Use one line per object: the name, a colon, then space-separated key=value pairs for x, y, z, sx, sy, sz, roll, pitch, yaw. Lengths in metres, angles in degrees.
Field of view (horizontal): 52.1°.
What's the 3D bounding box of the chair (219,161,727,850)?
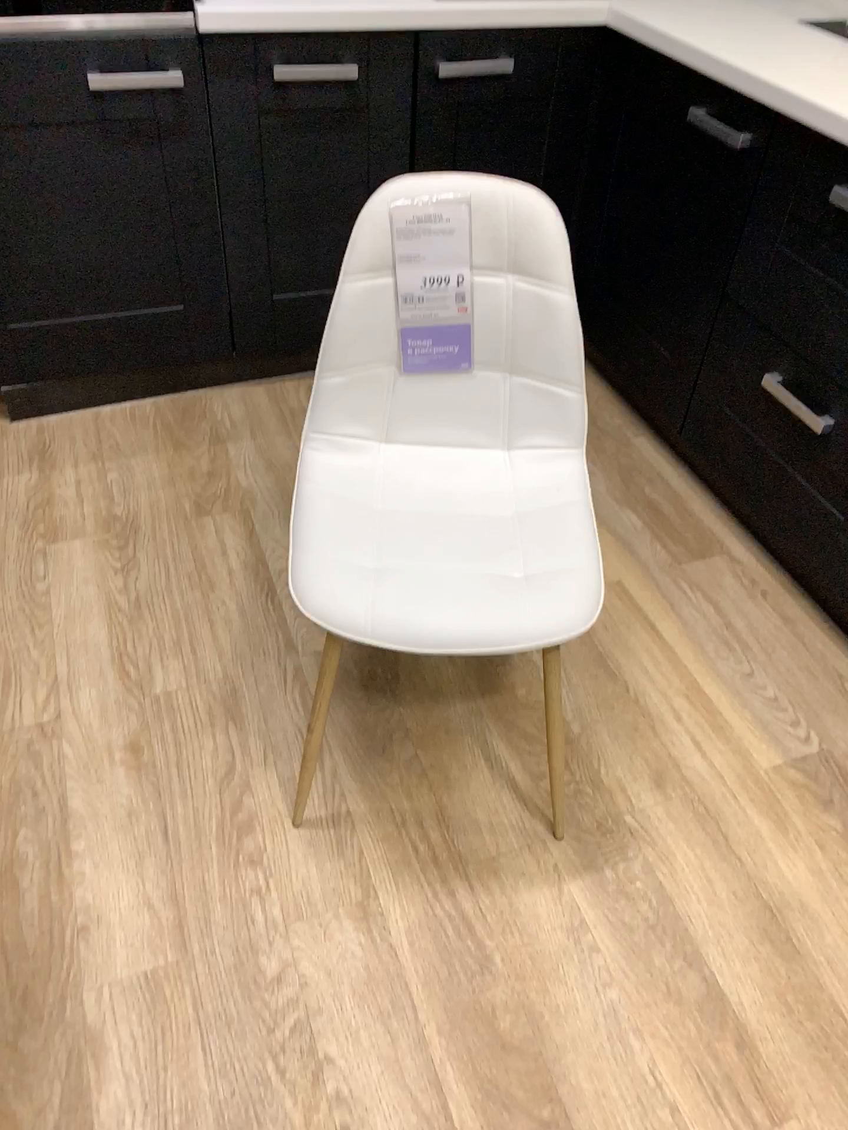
chair: x=0.030 y=-0.057 z=1.291 sx=0.470 sy=0.825 sz=0.573 roll=3 pitch=43 yaw=-1
